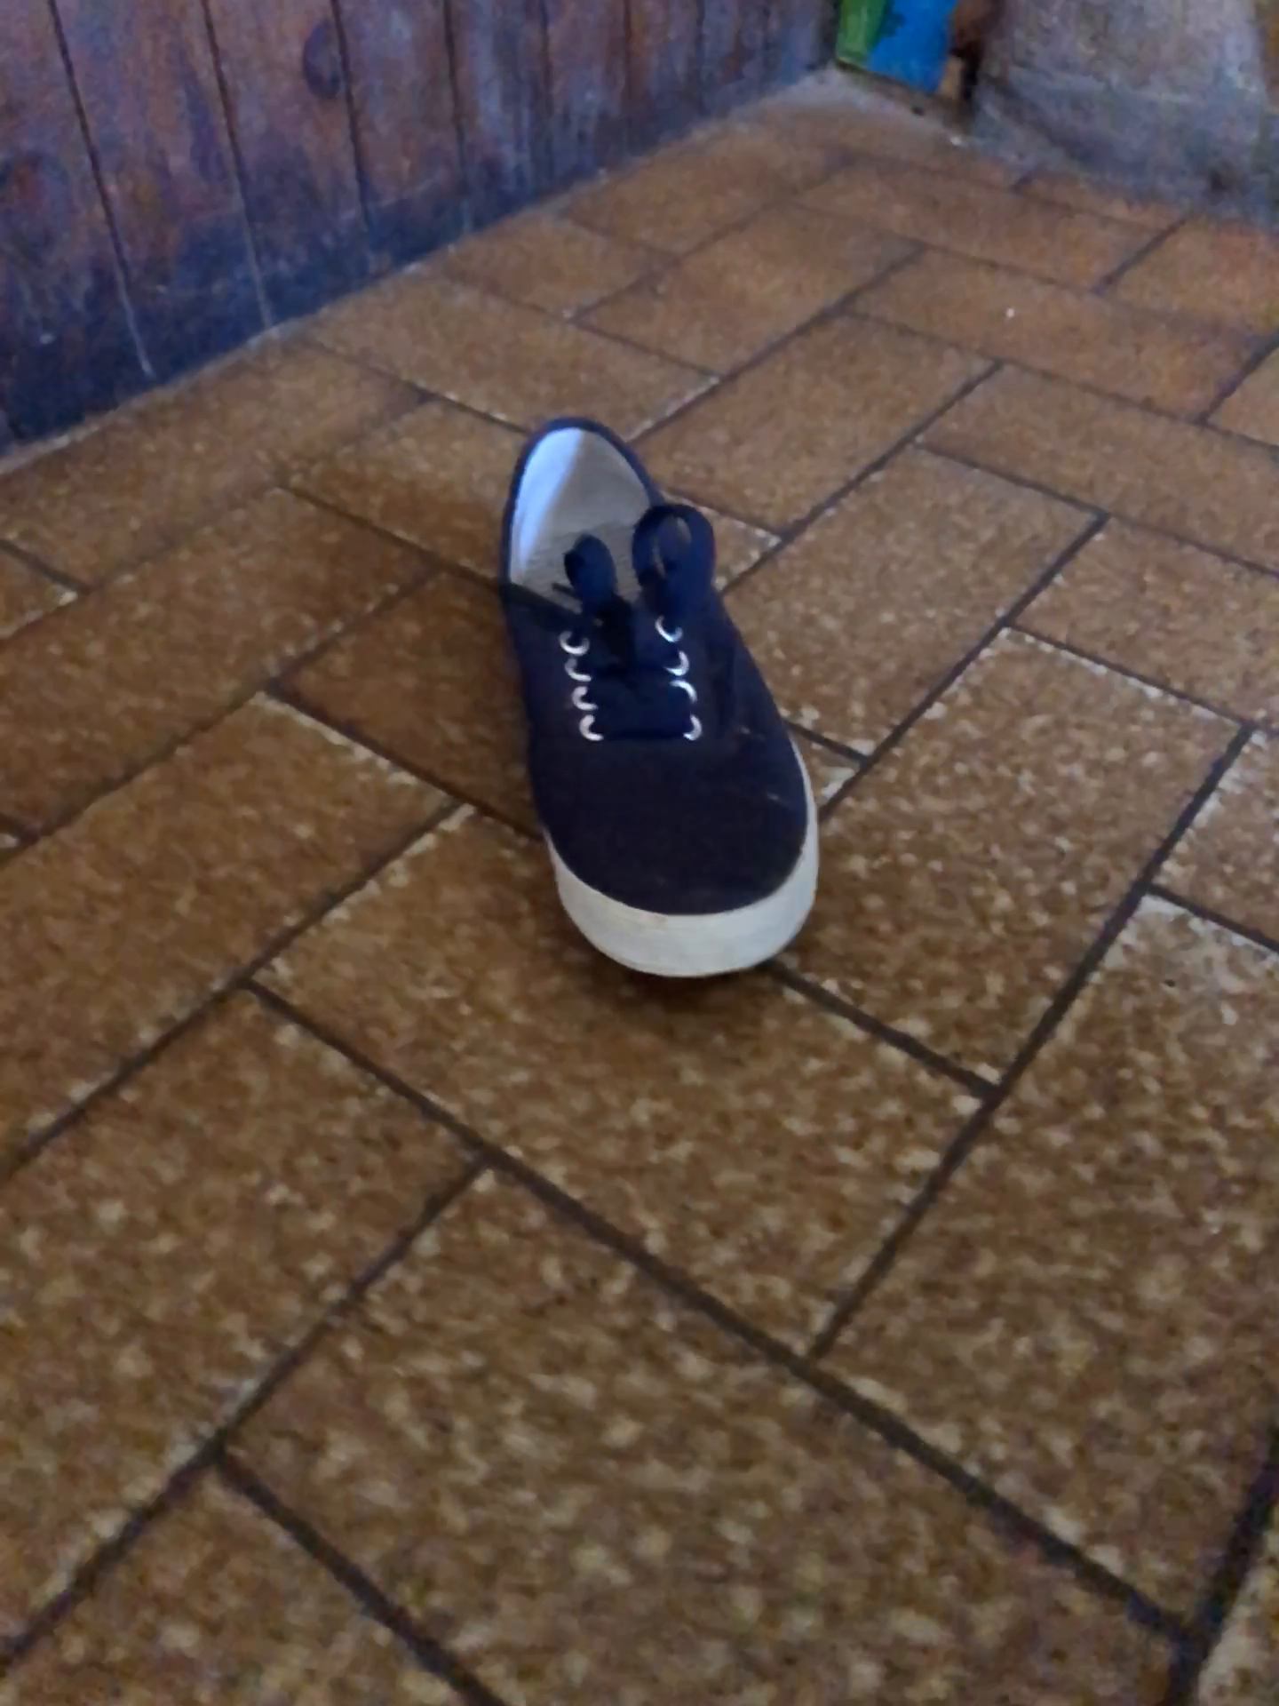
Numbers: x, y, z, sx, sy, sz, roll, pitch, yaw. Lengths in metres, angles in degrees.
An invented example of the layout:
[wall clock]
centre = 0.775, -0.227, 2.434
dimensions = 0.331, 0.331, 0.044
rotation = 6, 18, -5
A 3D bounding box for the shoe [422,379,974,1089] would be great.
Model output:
[shoe]
centre = 0.003, -0.054, 0.442
dimensions = 0.100, 0.070, 0.241
rotation = -10, 46, -10
